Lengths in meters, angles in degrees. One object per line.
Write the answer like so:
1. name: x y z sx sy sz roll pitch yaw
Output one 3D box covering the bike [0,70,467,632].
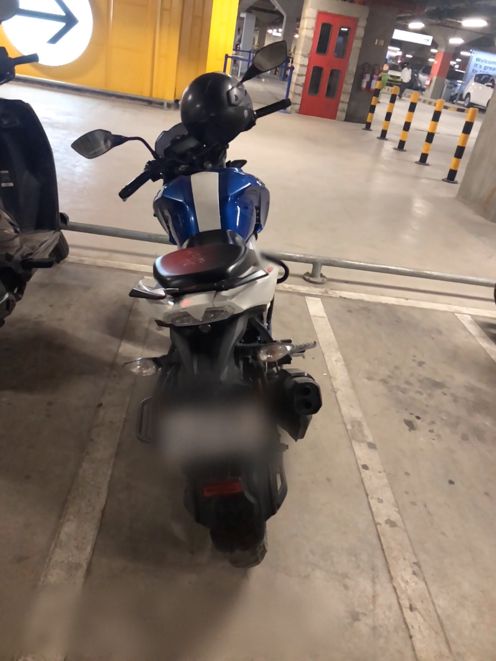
1. bike: -0.277 -0.204 1.981 0.806 1.162 1.995 4 27 -12
